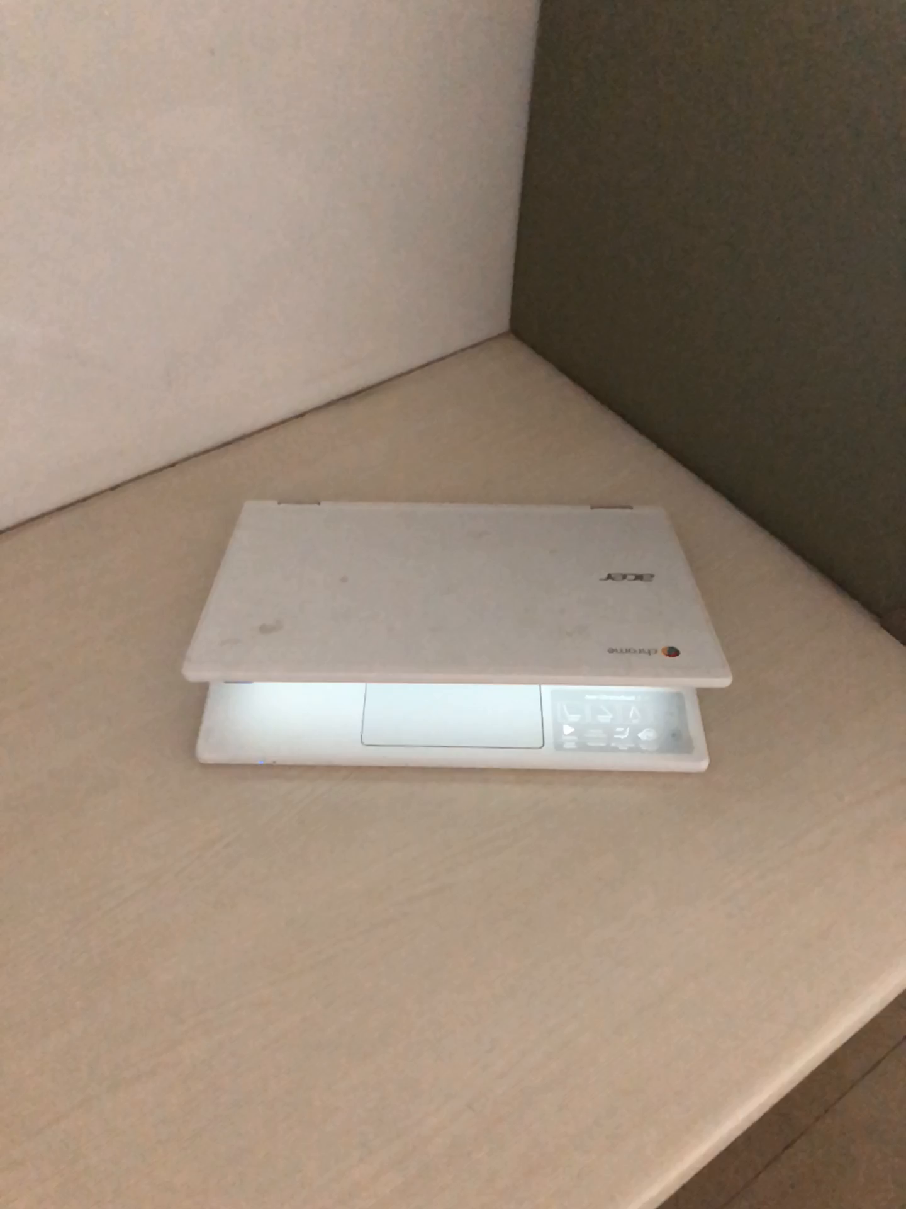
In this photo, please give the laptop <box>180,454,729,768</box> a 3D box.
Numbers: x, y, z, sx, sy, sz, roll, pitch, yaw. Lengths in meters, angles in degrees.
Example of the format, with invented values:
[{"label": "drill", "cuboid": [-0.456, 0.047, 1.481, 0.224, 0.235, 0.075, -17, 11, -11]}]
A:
[{"label": "laptop", "cuboid": [0.001, -0.003, 0.597, 0.282, 0.055, 0.193, 1, 49, 0]}]
